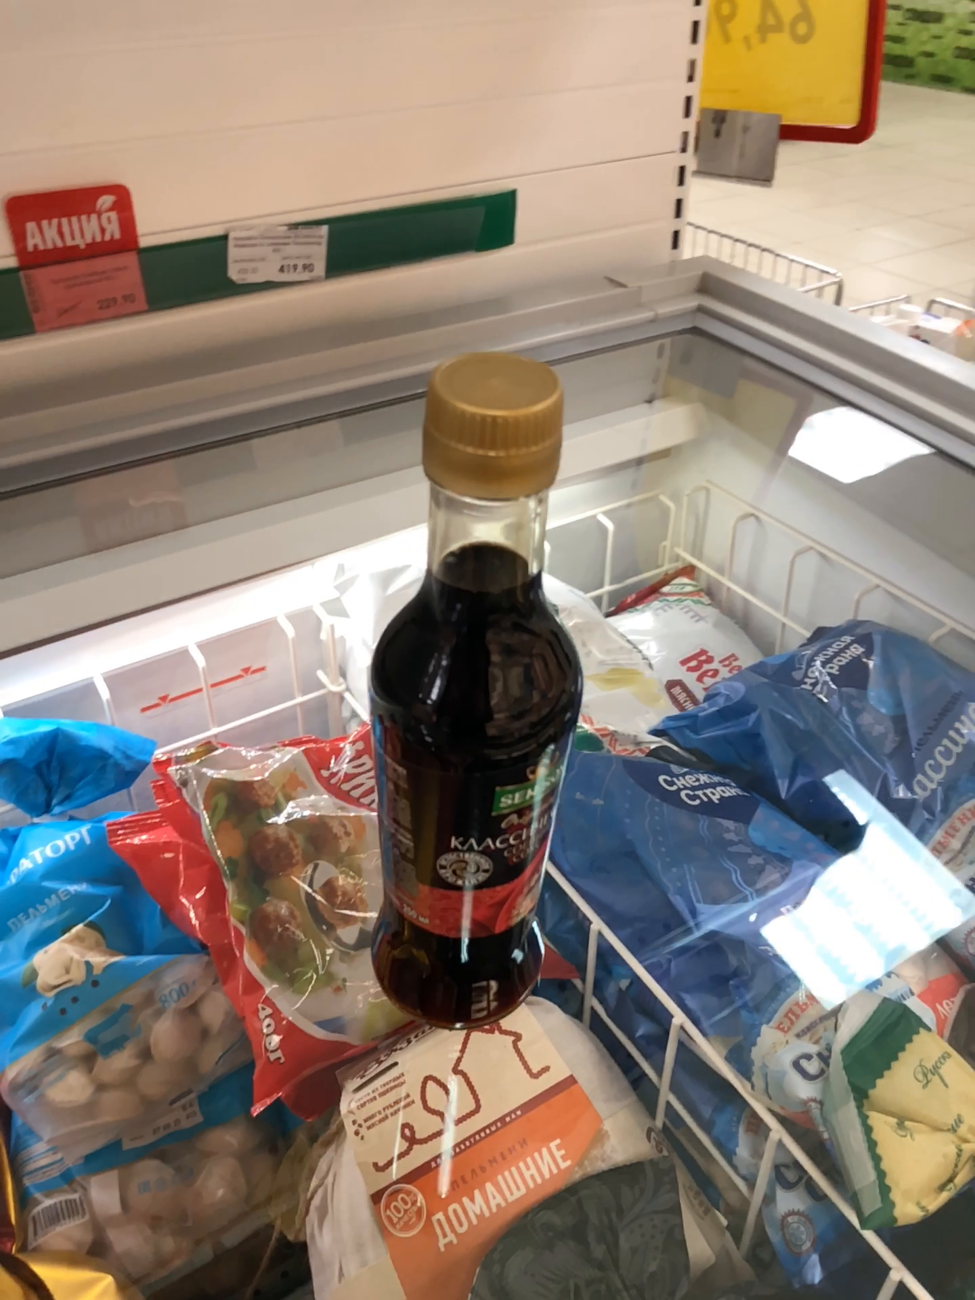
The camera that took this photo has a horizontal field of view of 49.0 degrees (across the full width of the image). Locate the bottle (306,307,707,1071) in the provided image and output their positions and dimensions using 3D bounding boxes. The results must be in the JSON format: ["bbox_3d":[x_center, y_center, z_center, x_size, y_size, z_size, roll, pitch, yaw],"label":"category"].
[{"bbox_3d":[-0.003,0.020,0.280,0.060,0.192,0.058,4,39,-3],"label":"bottle"}]
